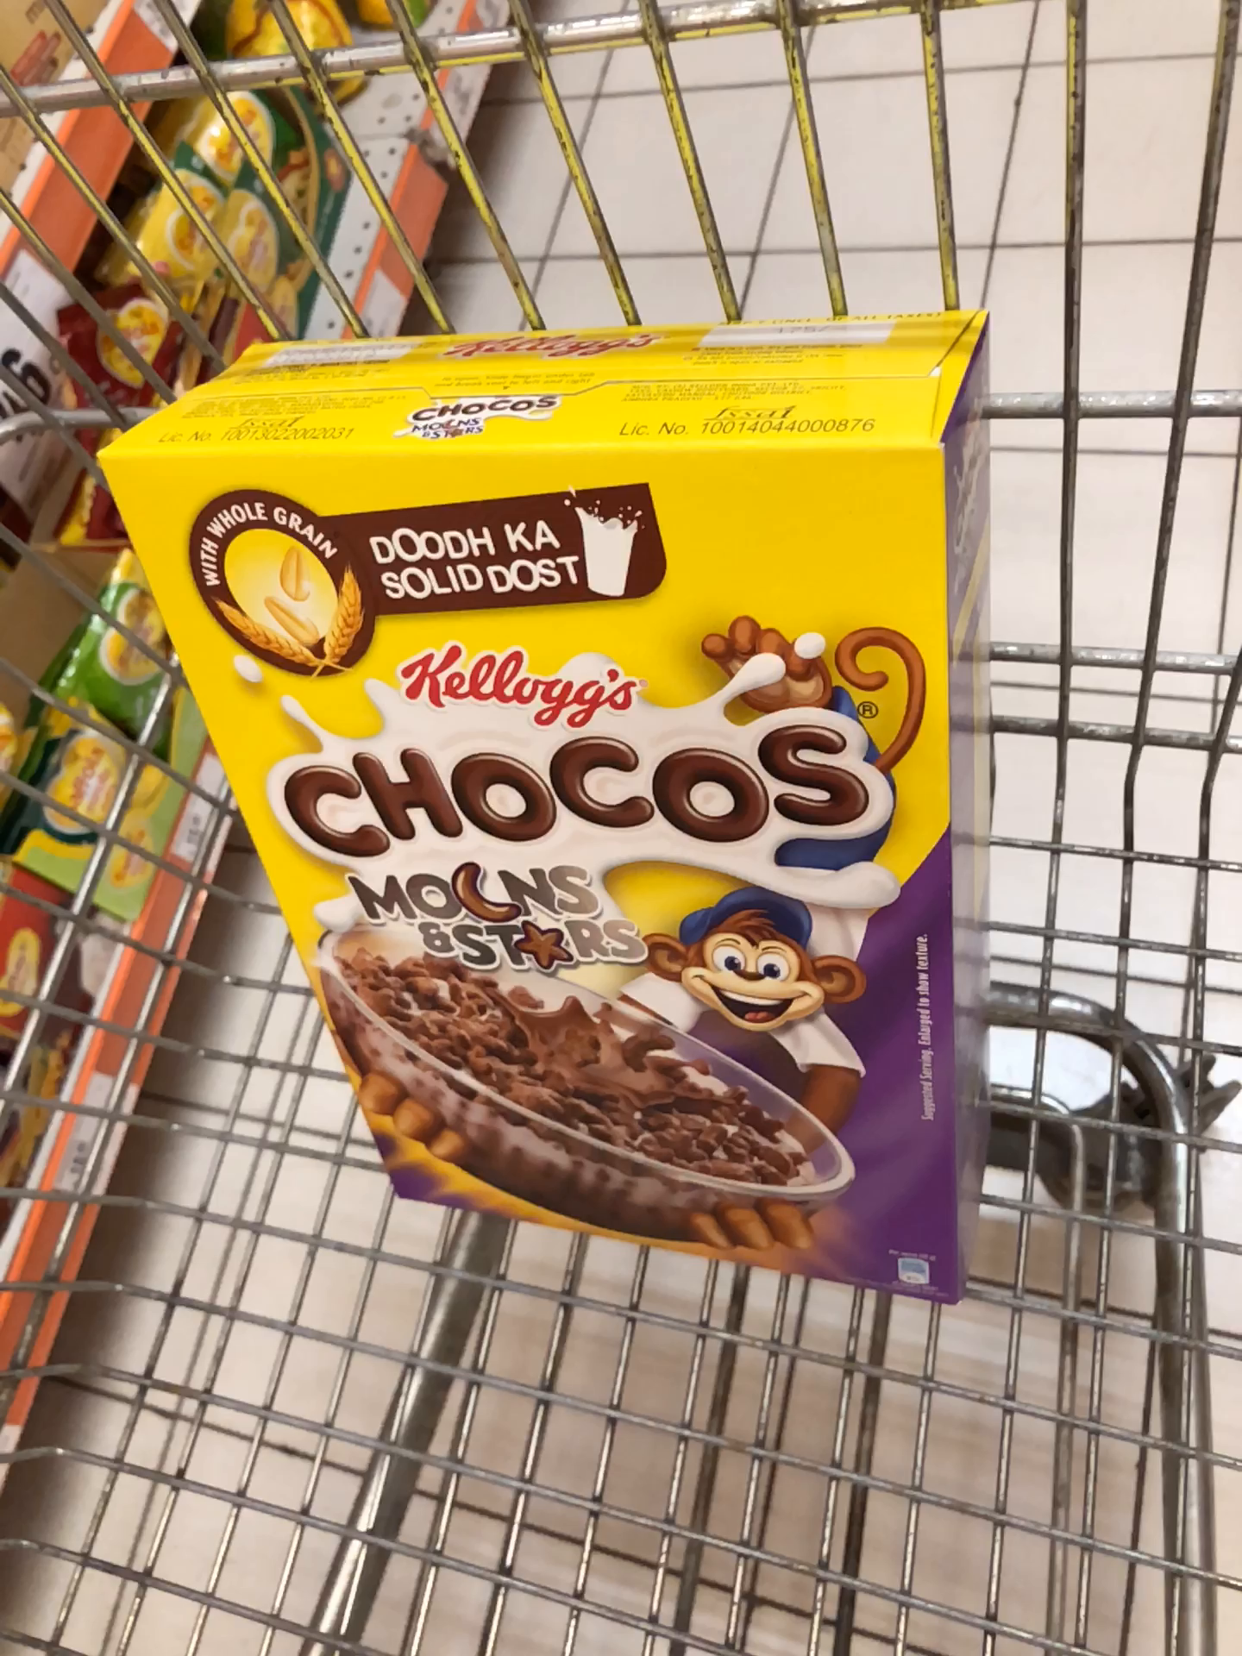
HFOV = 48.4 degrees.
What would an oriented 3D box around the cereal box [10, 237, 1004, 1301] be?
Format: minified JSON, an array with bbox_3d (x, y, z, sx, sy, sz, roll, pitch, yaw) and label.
[{"bbox_3d":[-0.007,-0.003,0.349,0.190,0.249,0.070,4,38,19],"label":"cereal box"}]
